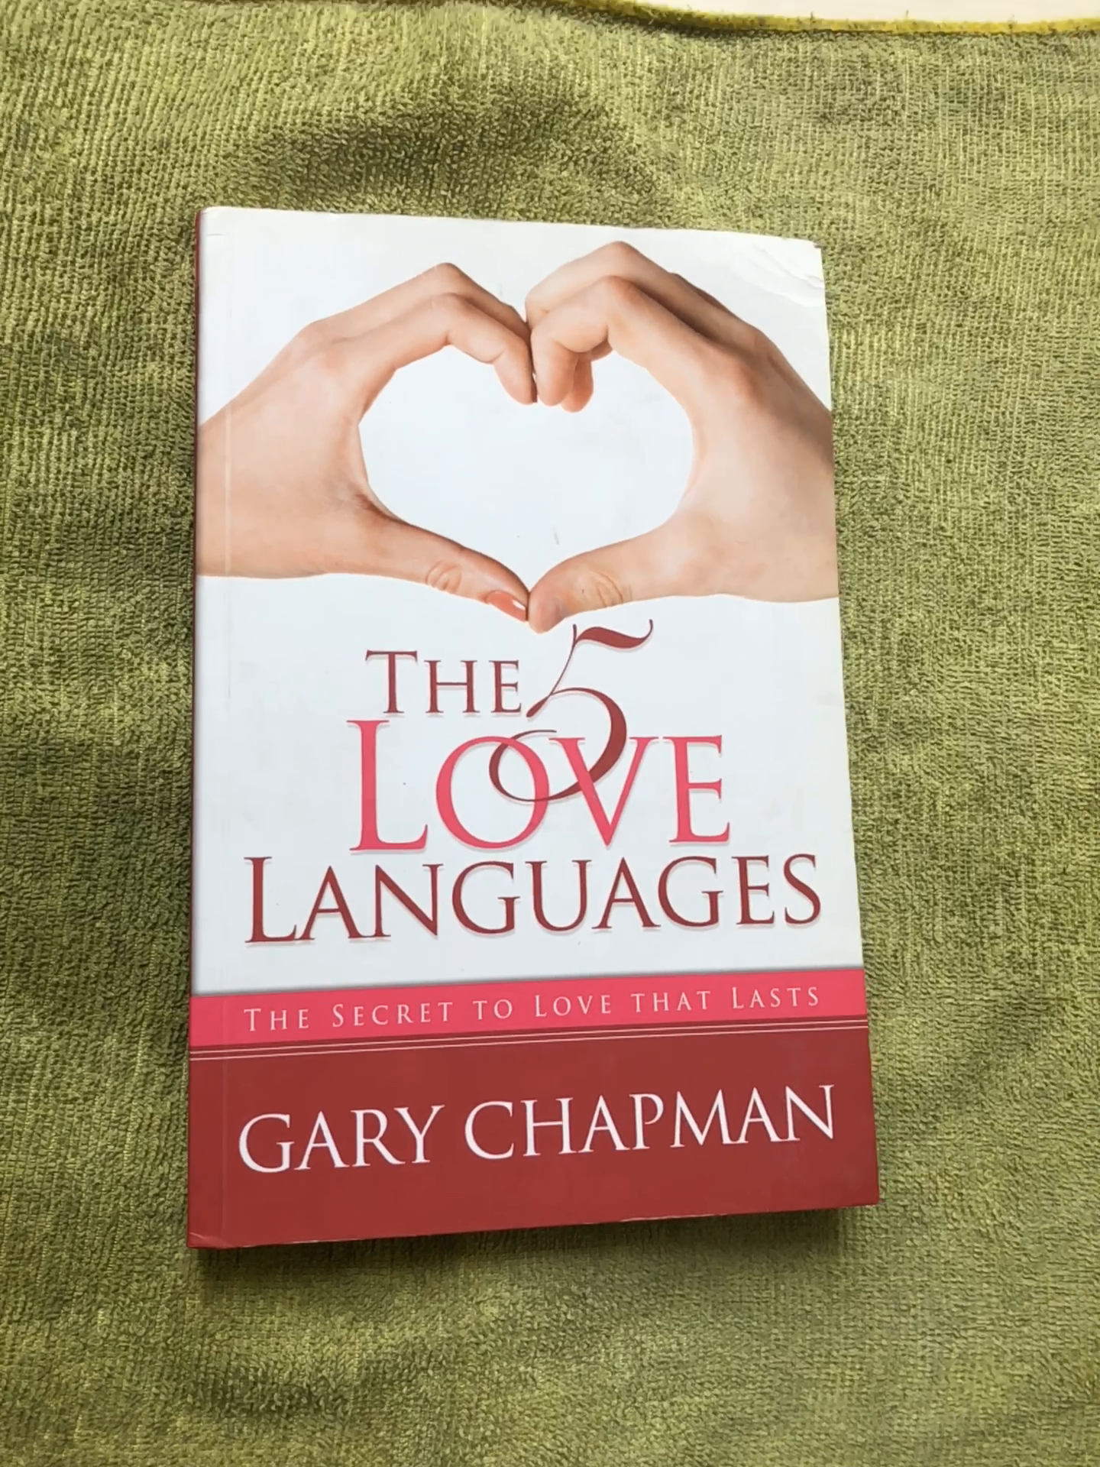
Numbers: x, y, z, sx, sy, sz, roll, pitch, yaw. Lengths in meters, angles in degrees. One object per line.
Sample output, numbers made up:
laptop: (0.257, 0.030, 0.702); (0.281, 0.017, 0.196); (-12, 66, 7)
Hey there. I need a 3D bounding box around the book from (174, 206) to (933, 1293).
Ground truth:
book: (-0.002, -0.002, 0.250); (0.140, 0.030, 0.200); (-1, 83, -9)
